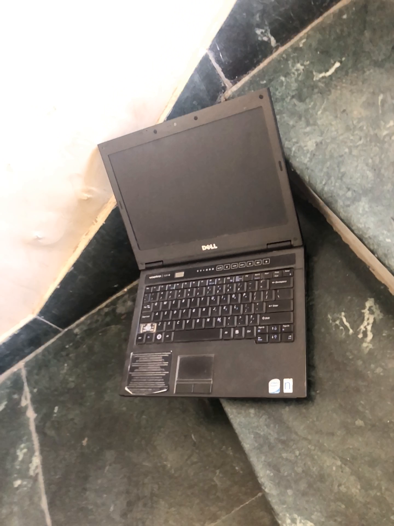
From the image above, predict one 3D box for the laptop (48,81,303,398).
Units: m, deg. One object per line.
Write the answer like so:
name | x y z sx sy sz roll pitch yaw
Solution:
laptop | -0.011 -0.017 0.656 0.302 0.169 0.387 -8 62 28
